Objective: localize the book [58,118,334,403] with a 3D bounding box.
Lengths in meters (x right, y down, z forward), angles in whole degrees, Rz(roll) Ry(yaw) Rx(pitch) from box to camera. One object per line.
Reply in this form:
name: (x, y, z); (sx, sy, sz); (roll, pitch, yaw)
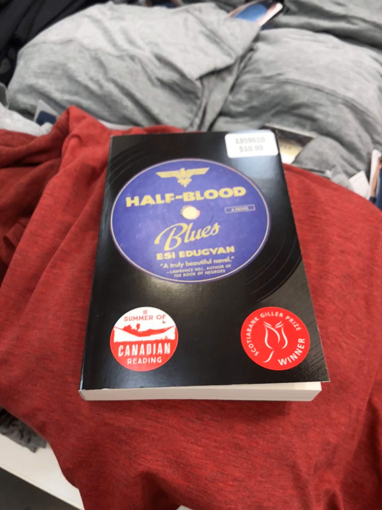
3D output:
book: (0.002, -0.013, 0.301); (0.146, 0.025, 0.221); (2, 54, -3)
